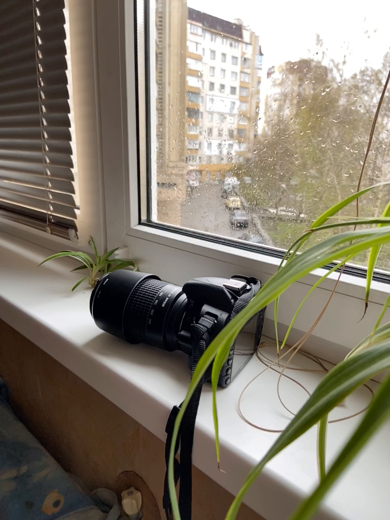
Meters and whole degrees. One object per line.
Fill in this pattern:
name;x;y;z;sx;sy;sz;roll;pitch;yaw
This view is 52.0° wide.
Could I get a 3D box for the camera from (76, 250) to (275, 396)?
camera;-0.020;0.059;0.469;0.190;0.089;0.125;10;18;26
